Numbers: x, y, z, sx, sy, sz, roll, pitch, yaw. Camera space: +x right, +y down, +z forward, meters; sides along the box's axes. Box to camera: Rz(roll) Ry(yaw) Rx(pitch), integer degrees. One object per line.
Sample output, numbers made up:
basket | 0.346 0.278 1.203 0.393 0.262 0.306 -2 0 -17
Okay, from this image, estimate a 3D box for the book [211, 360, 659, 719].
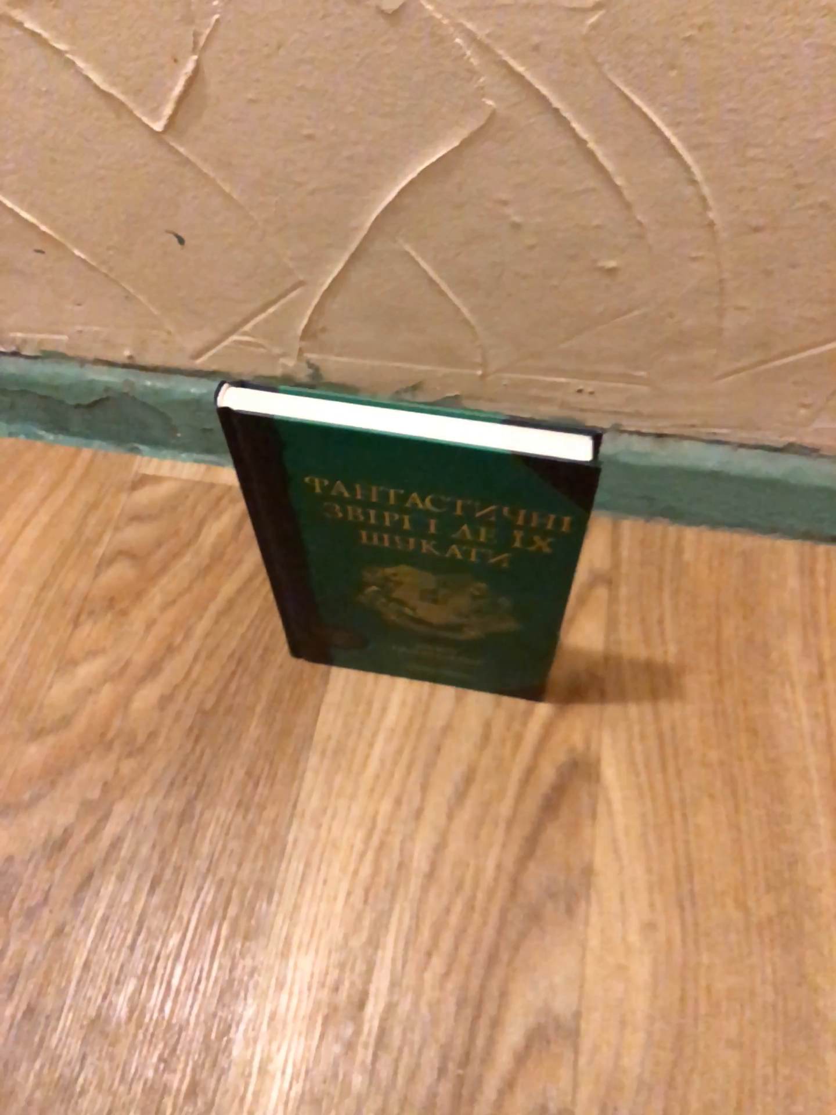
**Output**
book | 0.007 0.005 0.392 0.148 0.197 0.024 10 58 7
